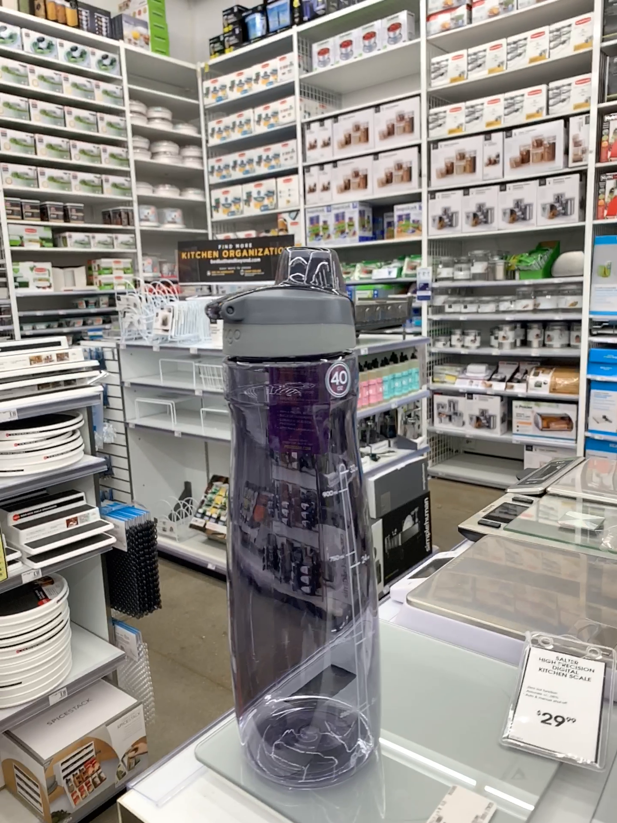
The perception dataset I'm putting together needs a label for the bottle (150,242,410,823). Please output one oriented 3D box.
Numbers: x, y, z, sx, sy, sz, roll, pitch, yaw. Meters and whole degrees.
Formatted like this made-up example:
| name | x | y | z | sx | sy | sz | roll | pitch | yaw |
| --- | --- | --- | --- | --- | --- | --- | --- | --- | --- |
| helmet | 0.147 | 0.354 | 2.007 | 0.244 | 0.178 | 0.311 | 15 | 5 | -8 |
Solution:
| name | x | y | z | sx | sy | sz | roll | pitch | yaw |
| --- | --- | --- | --- | --- | --- | --- | --- | --- | --- |
| bottle | -0.011 | 0.062 | 0.380 | 0.100 | 0.309 | 0.100 | -2 | 11 | 0 |
